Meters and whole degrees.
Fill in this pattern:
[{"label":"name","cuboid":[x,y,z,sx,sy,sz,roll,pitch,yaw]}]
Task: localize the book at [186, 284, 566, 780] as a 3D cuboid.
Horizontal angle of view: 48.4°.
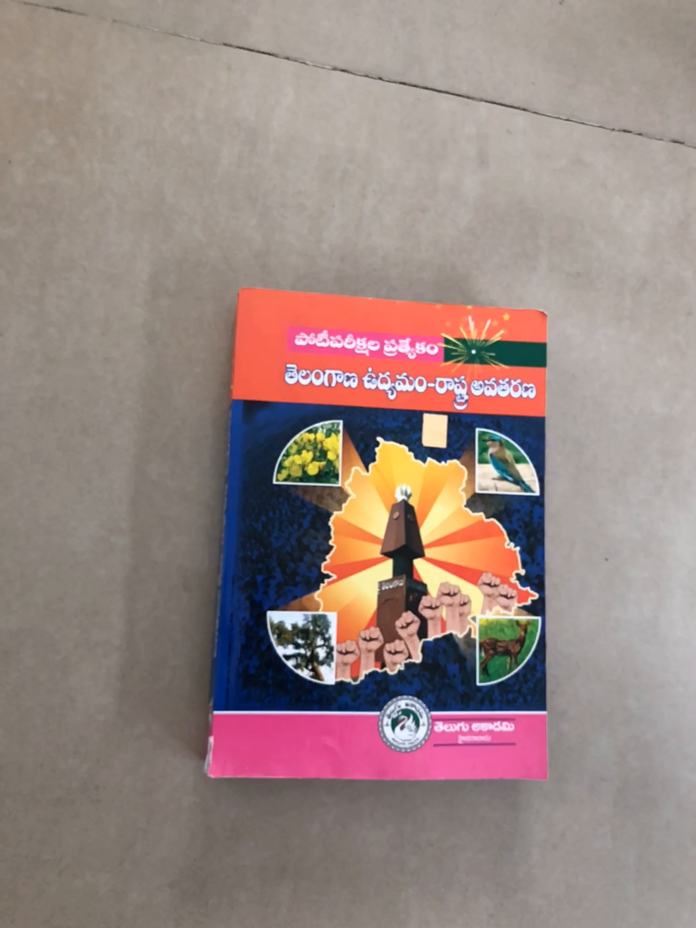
[{"label":"book","cuboid":[0.018,0.037,0.446,0.202,0.040,0.265,3,81,-7]}]
